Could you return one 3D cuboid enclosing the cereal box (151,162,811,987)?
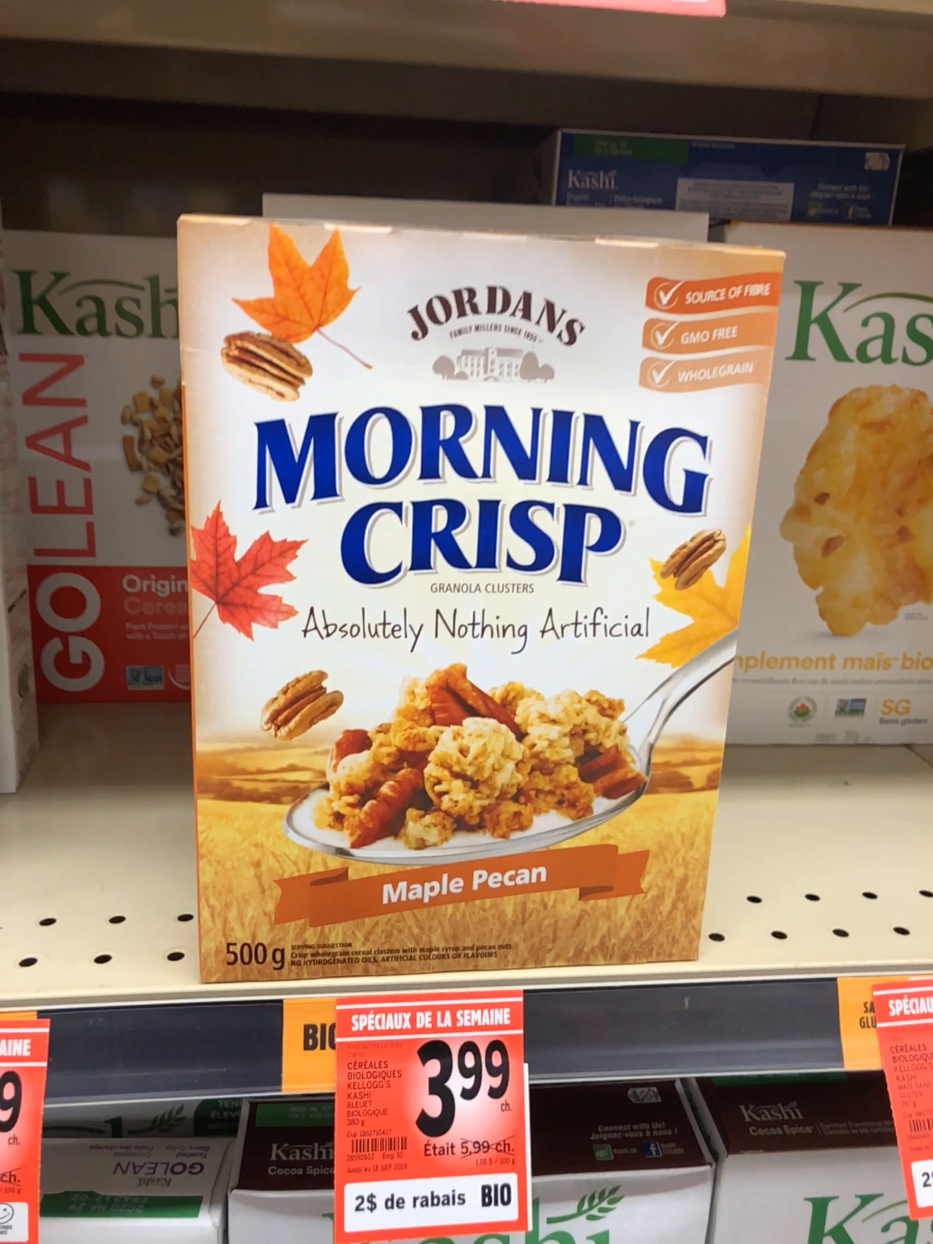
[{"bbox_3d":[-0.002,-0.006,0.353,0.190,0.259,0.050,1,17,-9],"label":"cereal box"}]
